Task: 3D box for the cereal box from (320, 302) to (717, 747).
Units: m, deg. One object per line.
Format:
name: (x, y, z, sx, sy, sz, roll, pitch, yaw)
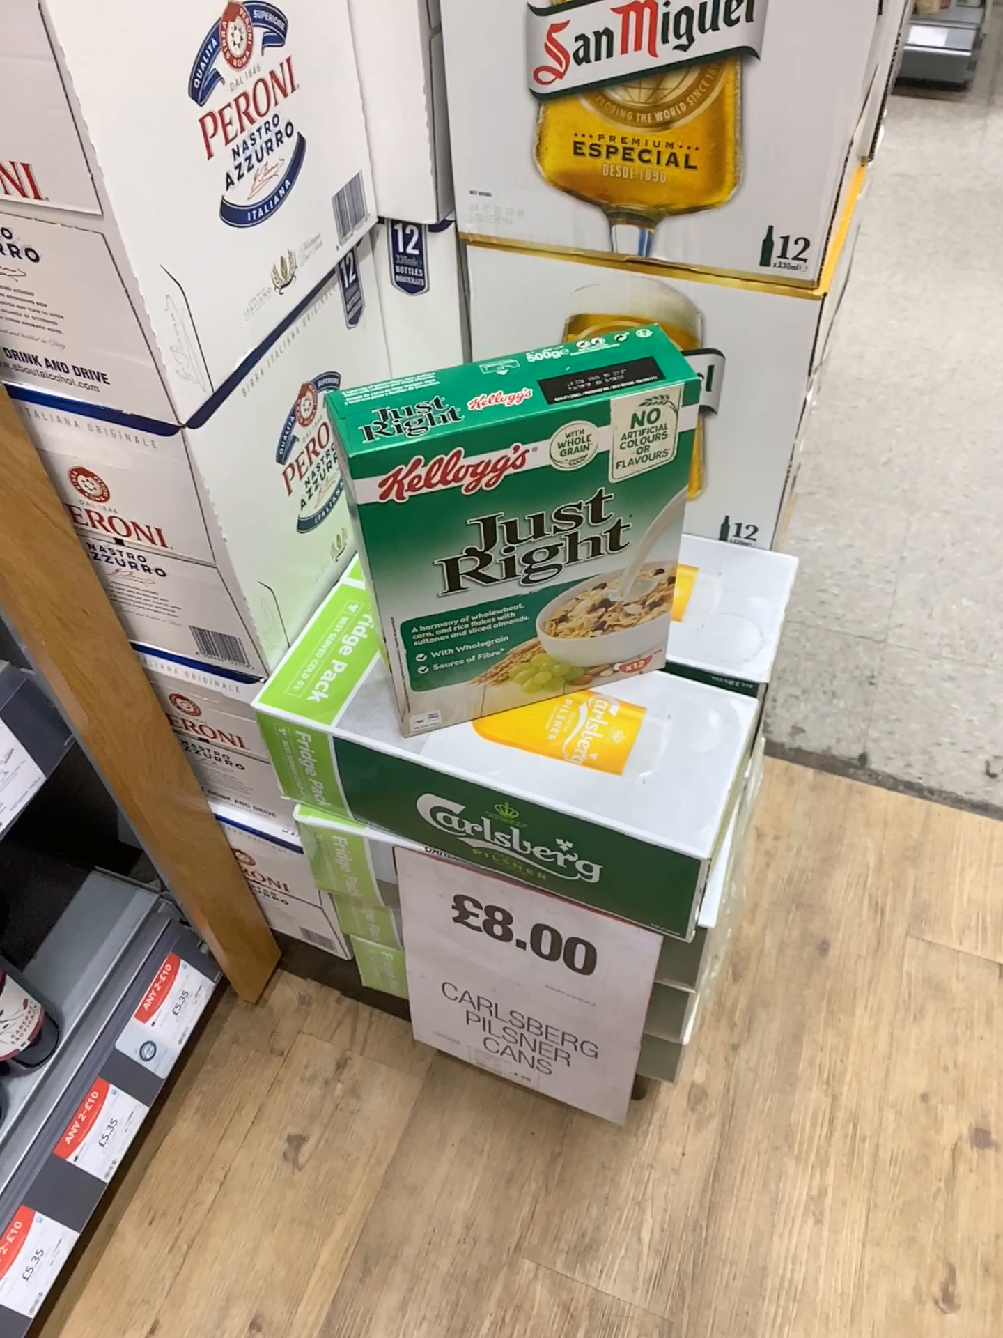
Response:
cereal box: (0.013, -0.074, 0.614, 0.190, 0.238, 0.071, -15, 51, -8)
